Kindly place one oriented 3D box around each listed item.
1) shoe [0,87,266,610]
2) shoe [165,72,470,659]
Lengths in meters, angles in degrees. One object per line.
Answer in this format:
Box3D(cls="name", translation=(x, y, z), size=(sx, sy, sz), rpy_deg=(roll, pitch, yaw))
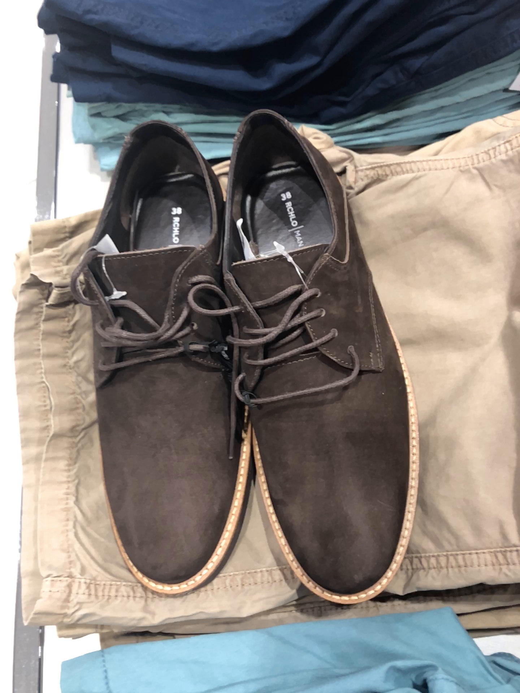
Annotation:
Box3D(cls="shoe", translation=(-0.062, 0.003, 0.342), size=(0.110, 0.110, 0.260), rpy_deg=(-3, 77, 9))
Box3D(cls="shoe", translation=(0.027, 0.008, 0.315), size=(0.100, 0.110, 0.261), rpy_deg=(-11, 73, 11))
